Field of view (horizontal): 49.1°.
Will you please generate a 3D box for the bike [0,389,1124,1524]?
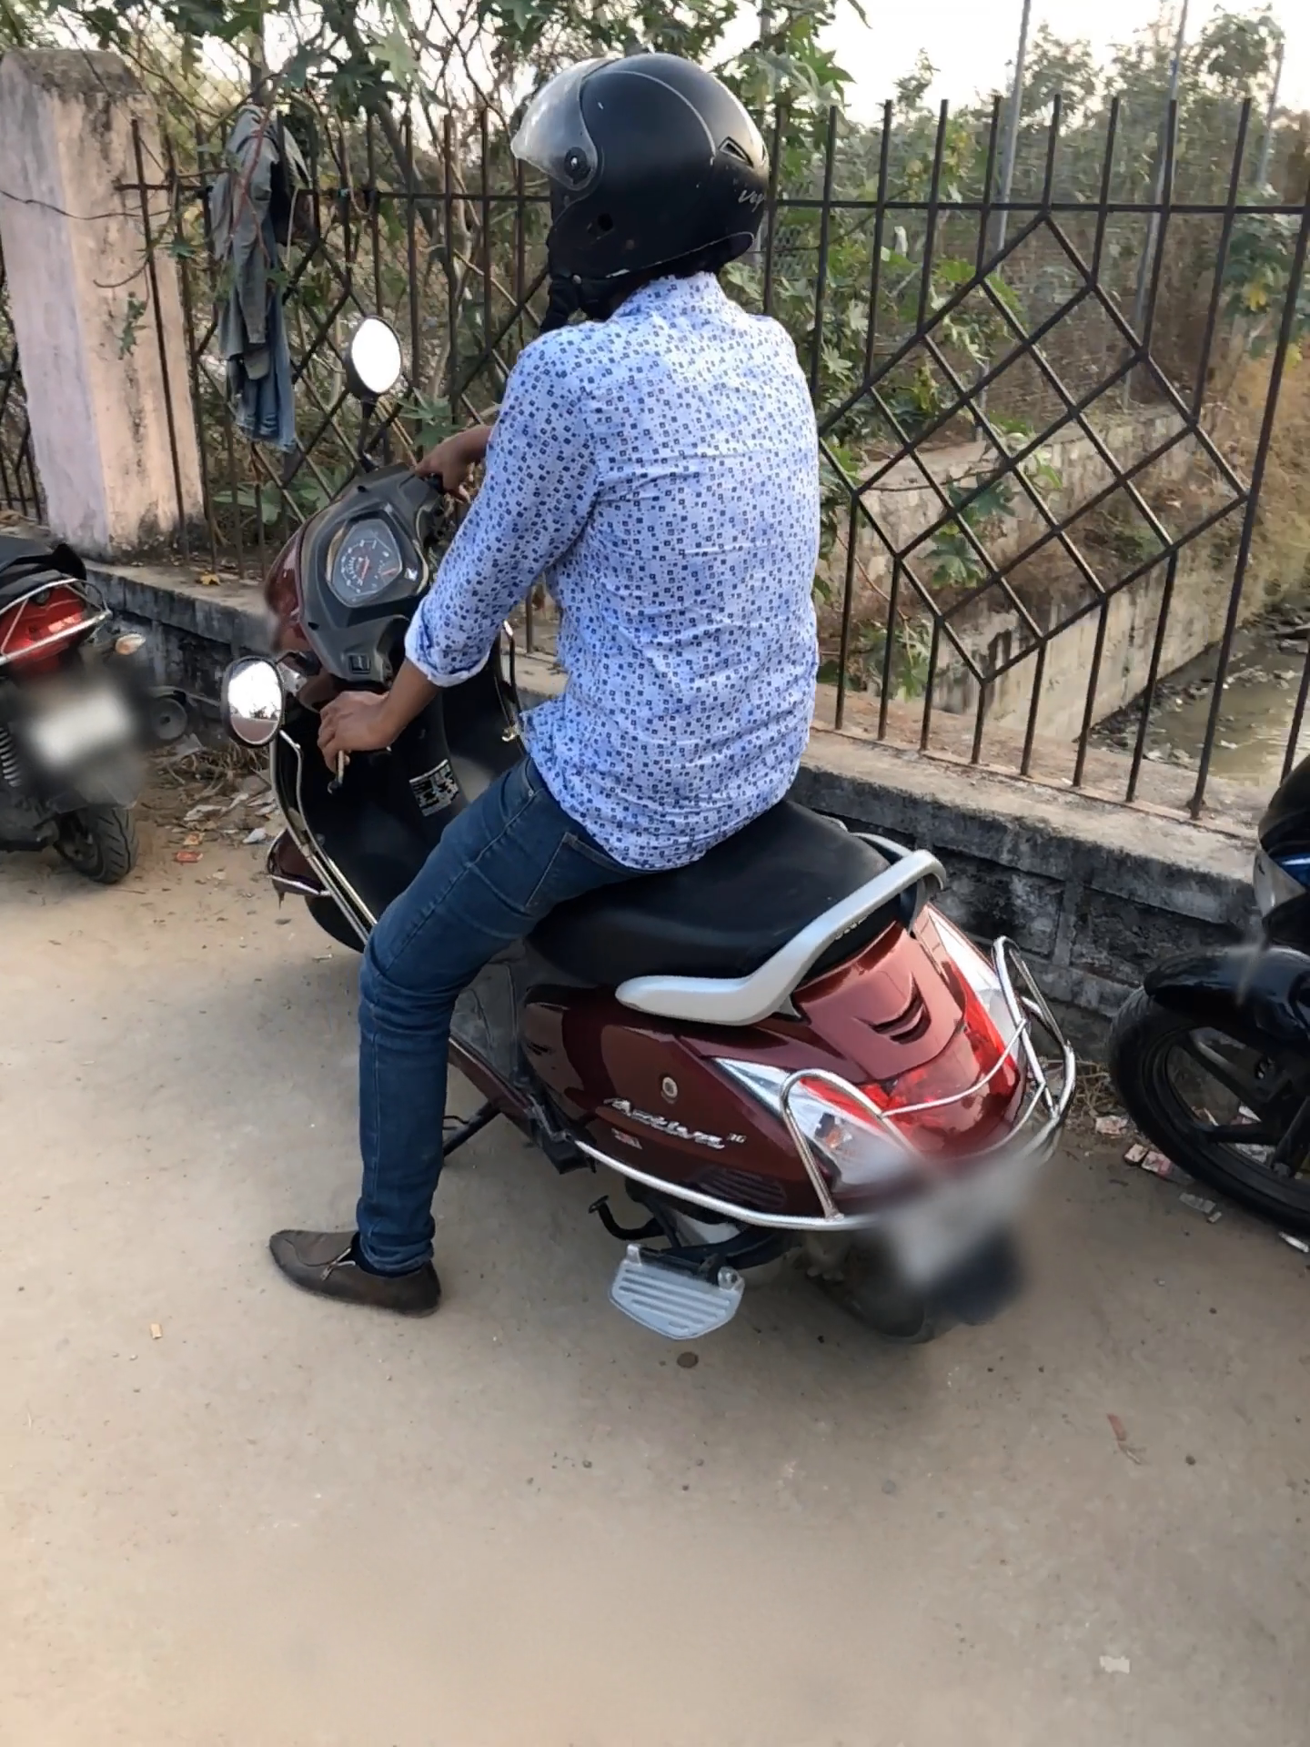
[{"bbox_3d":[-0.283,-0.049,1.987,1.490,0.963,0.578,24,33,37],"label":"bike"}]
